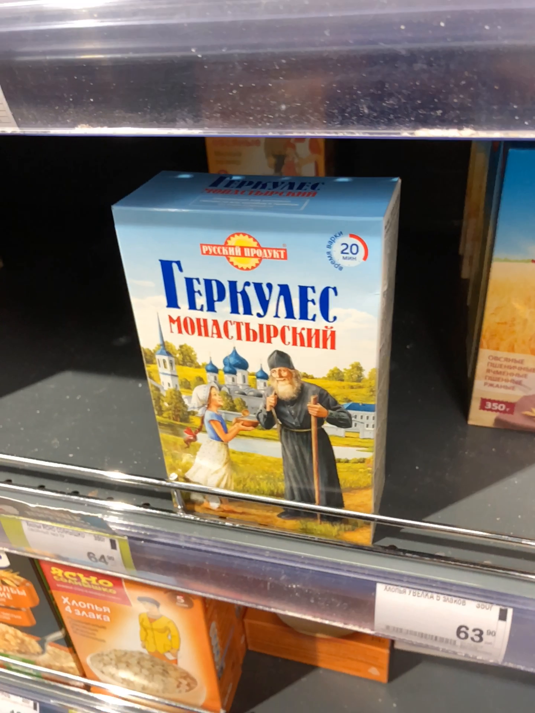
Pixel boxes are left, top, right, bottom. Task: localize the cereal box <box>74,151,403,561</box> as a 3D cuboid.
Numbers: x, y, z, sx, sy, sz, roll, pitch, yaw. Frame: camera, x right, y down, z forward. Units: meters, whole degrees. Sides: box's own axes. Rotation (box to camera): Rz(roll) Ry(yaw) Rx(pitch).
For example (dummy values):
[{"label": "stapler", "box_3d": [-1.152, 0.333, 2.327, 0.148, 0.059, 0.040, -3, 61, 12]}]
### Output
[{"label": "cereal box", "box_3d": [-0.005, 0.004, 0.309, 0.130, 0.199, 0.060, 5, 33, 14]}]
